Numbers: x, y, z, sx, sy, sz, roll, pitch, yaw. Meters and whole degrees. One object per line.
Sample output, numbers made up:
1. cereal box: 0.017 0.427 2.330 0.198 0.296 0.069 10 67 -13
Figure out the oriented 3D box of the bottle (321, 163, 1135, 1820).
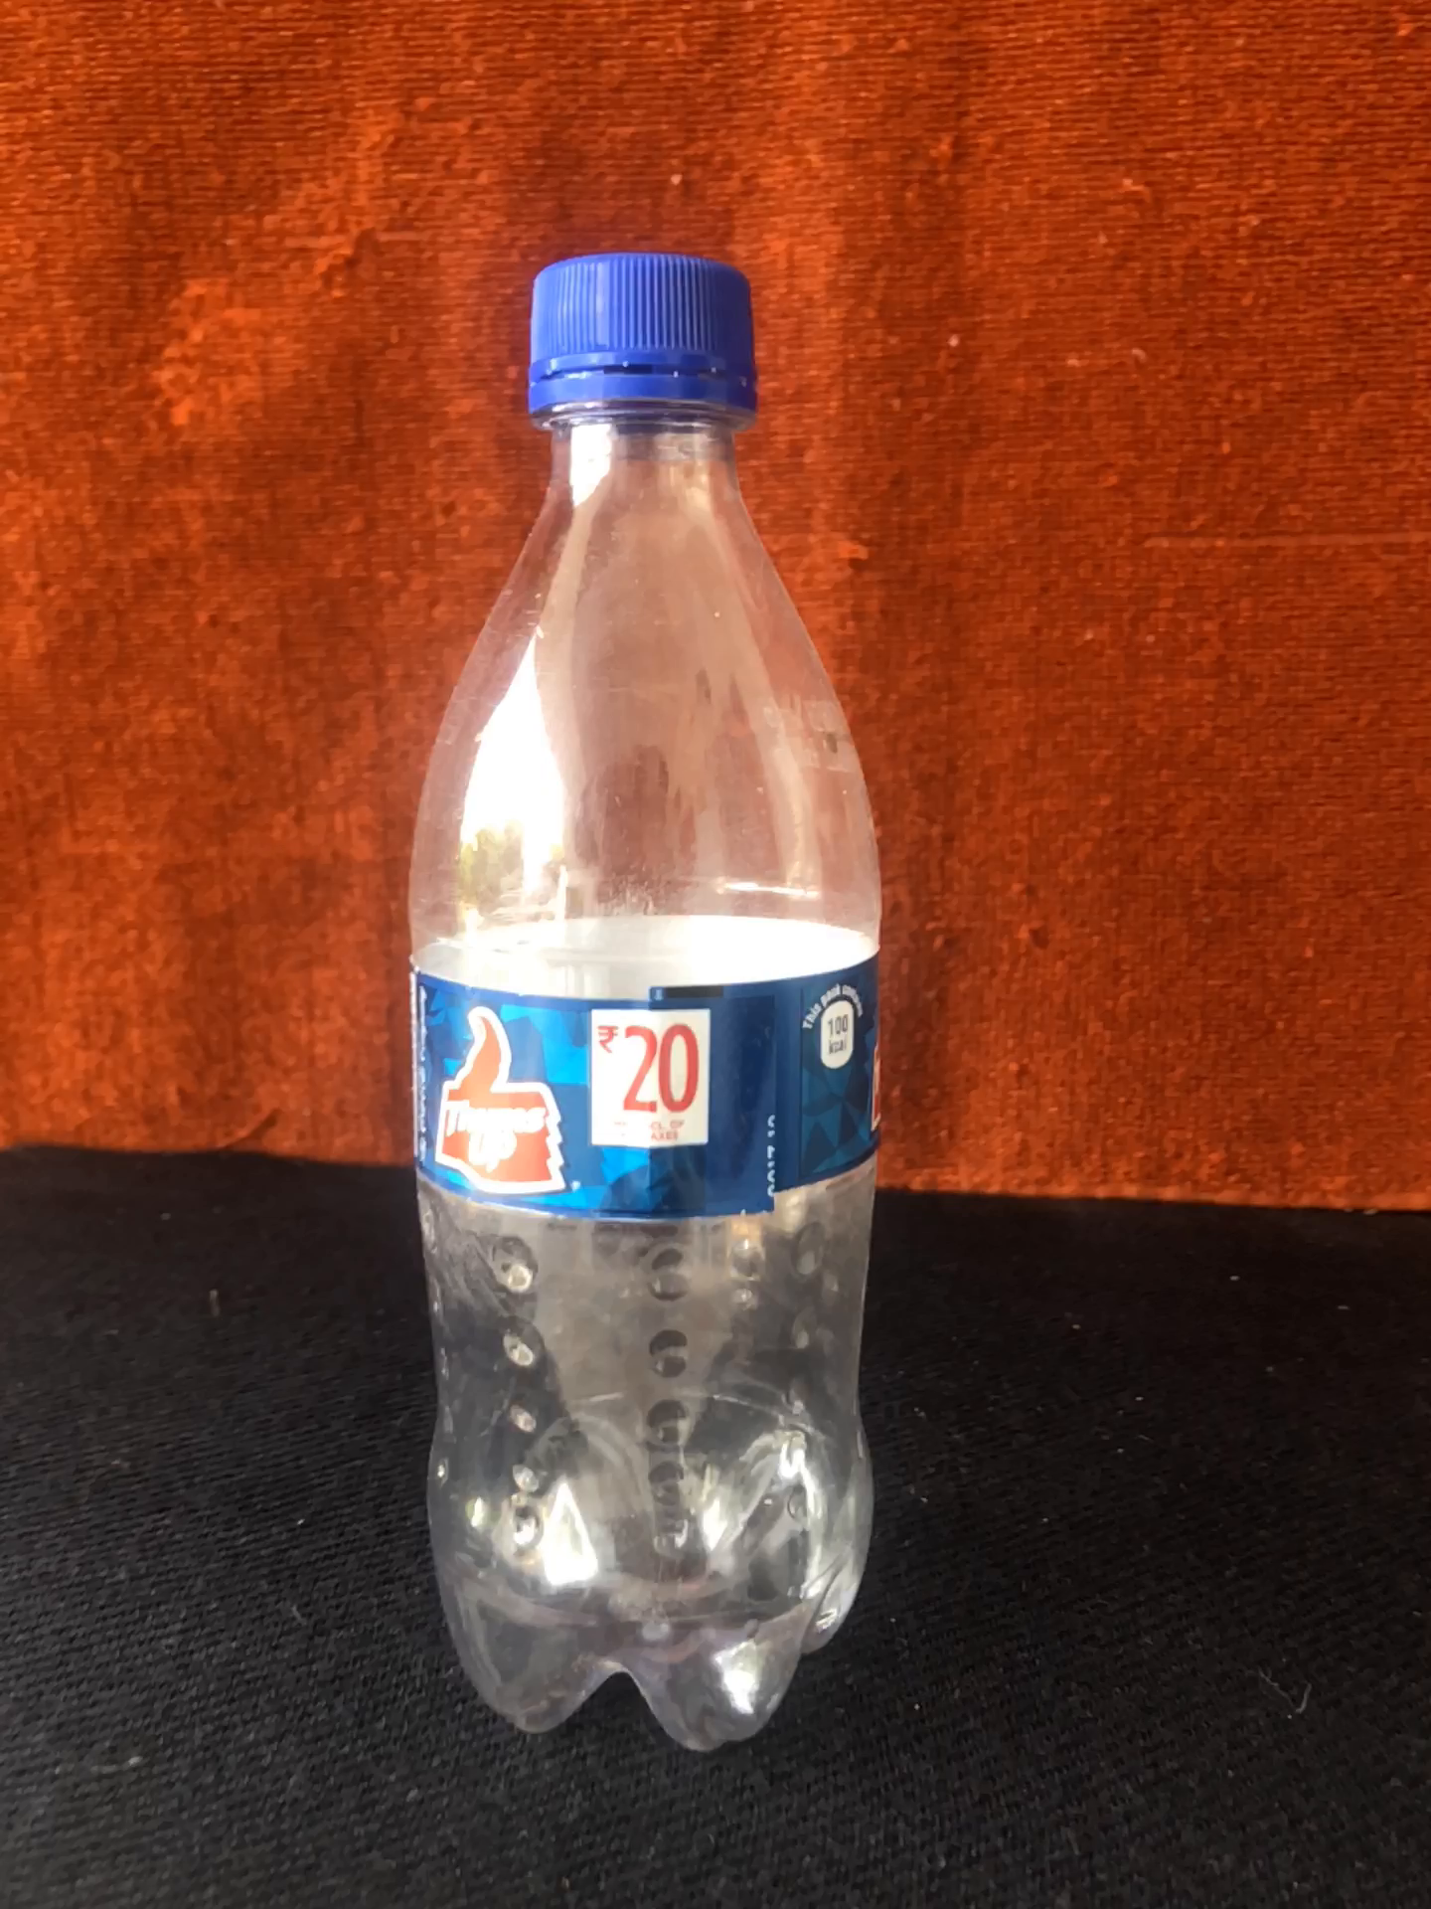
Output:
1. bottle: 0.002 0.004 0.158 0.060 0.140 0.050 2 13 6
